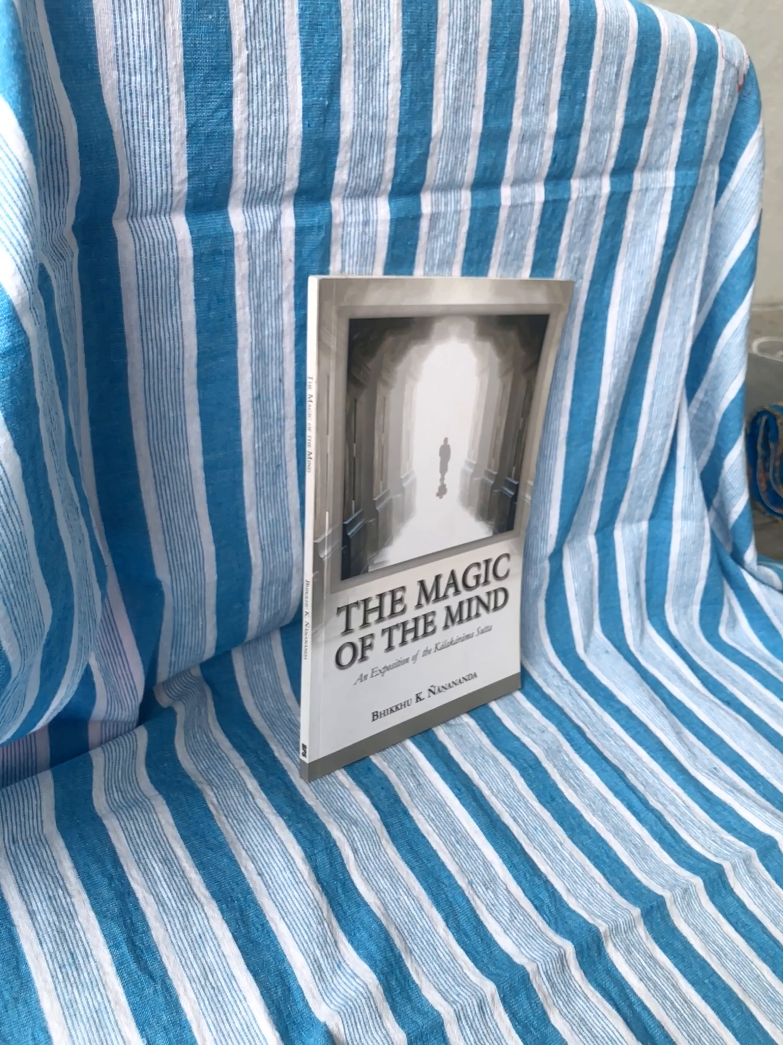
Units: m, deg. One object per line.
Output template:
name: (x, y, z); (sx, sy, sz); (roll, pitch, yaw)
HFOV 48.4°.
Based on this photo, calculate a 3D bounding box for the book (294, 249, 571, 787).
book: (0.021, -0.006, 0.394); (0.151, 0.219, 0.010); (-12, 22, -40)
